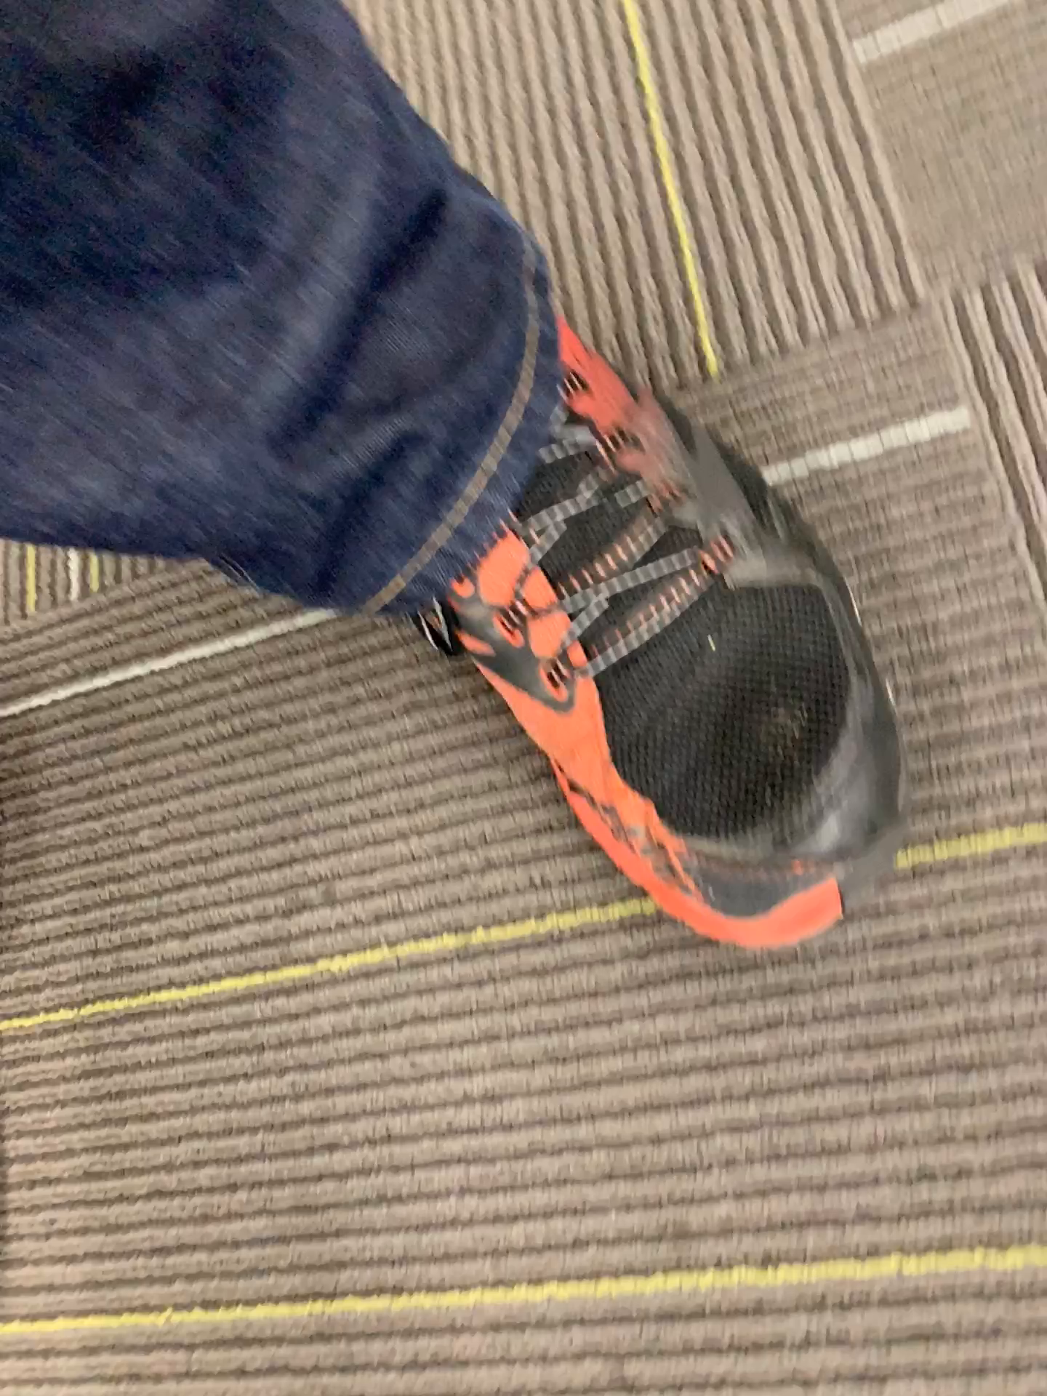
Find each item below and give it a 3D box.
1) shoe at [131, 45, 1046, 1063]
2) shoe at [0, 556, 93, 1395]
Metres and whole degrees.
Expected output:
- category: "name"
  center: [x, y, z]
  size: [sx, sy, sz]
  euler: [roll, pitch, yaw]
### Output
- category: "shoe"
  center: [0.011, -0.054, 0.349]
  size: [0.130, 0.100, 0.301]
  euler: [-40, 65, 8]
- category: "shoe"
  center: [-0.304, 0.120, 0.457]
  size: [0.120, 0.120, 0.320]
  euler: [-28, 67, 14]
